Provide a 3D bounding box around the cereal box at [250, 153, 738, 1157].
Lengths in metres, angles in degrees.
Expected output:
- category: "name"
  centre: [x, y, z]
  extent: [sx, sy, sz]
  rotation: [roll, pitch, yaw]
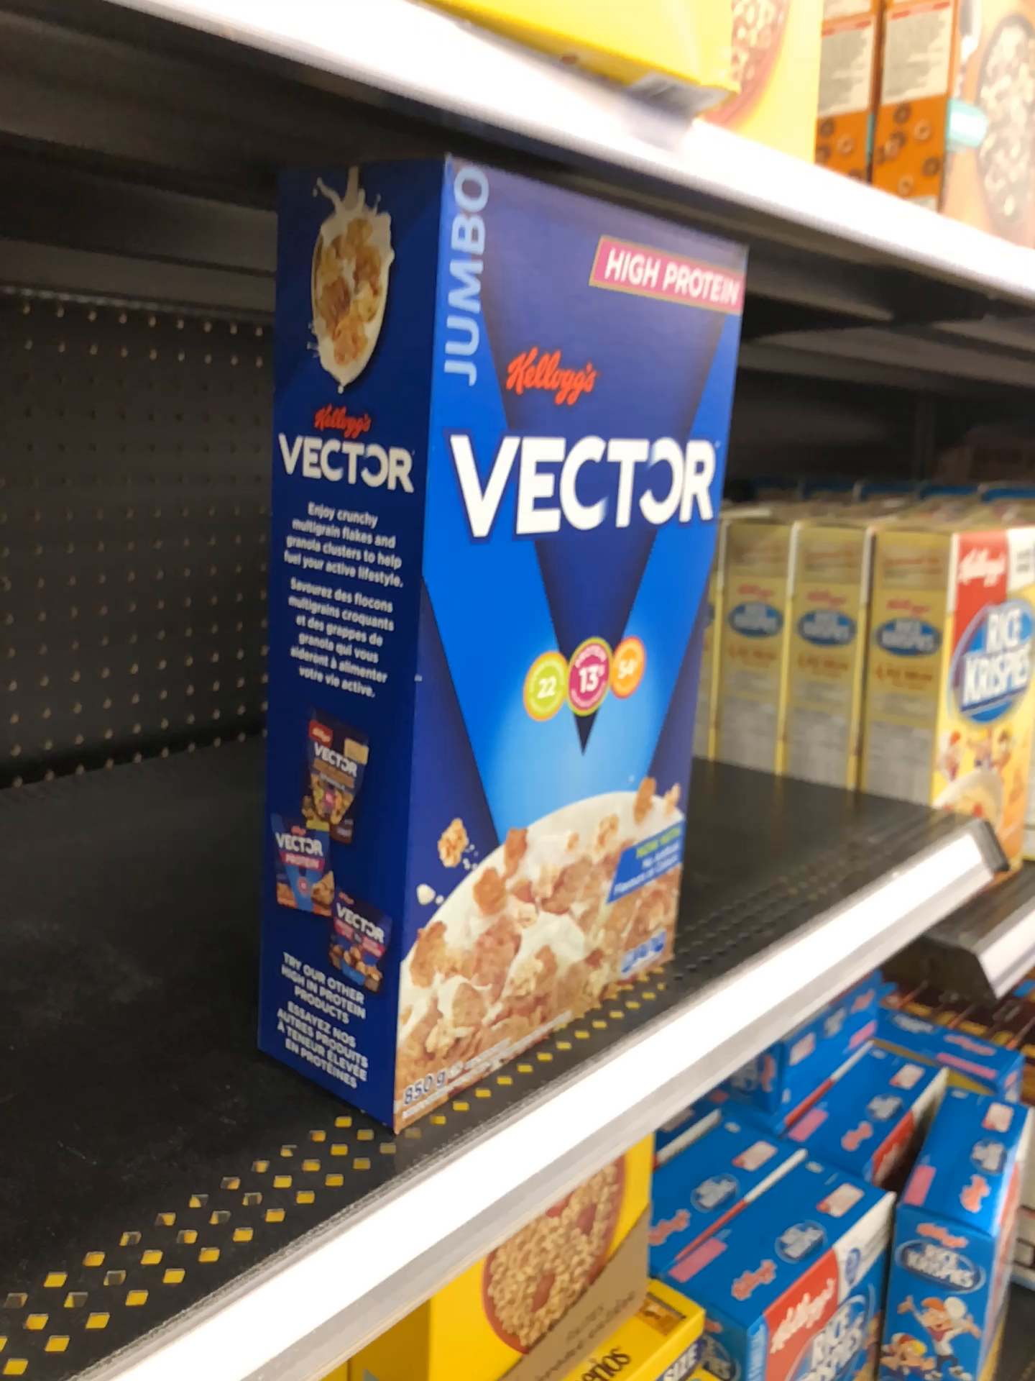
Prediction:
- category: "cereal box"
  centre: [-0.007, -0.018, 0.492]
  extent: [0.080, 0.348, 0.201]
  rotation: [13, 16, 37]
